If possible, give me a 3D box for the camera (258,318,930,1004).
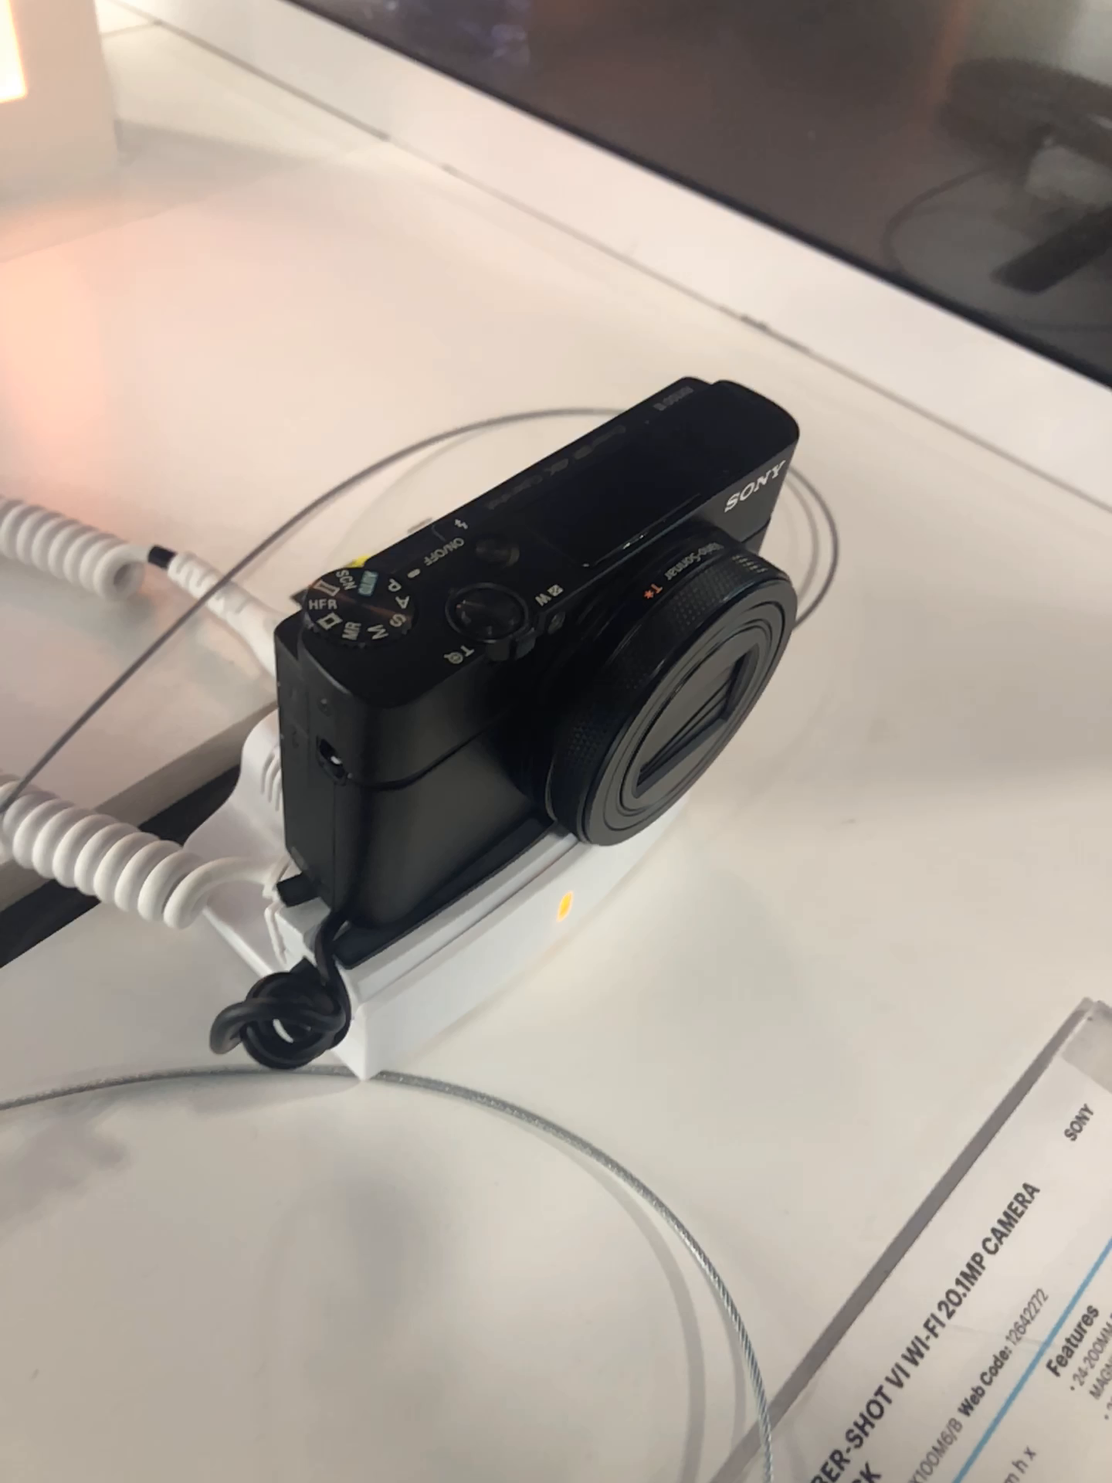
[{"bbox_3d":[0.009,-0.018,0.208,0.040,0.060,0.109,36,53,24],"label":"camera"}]
